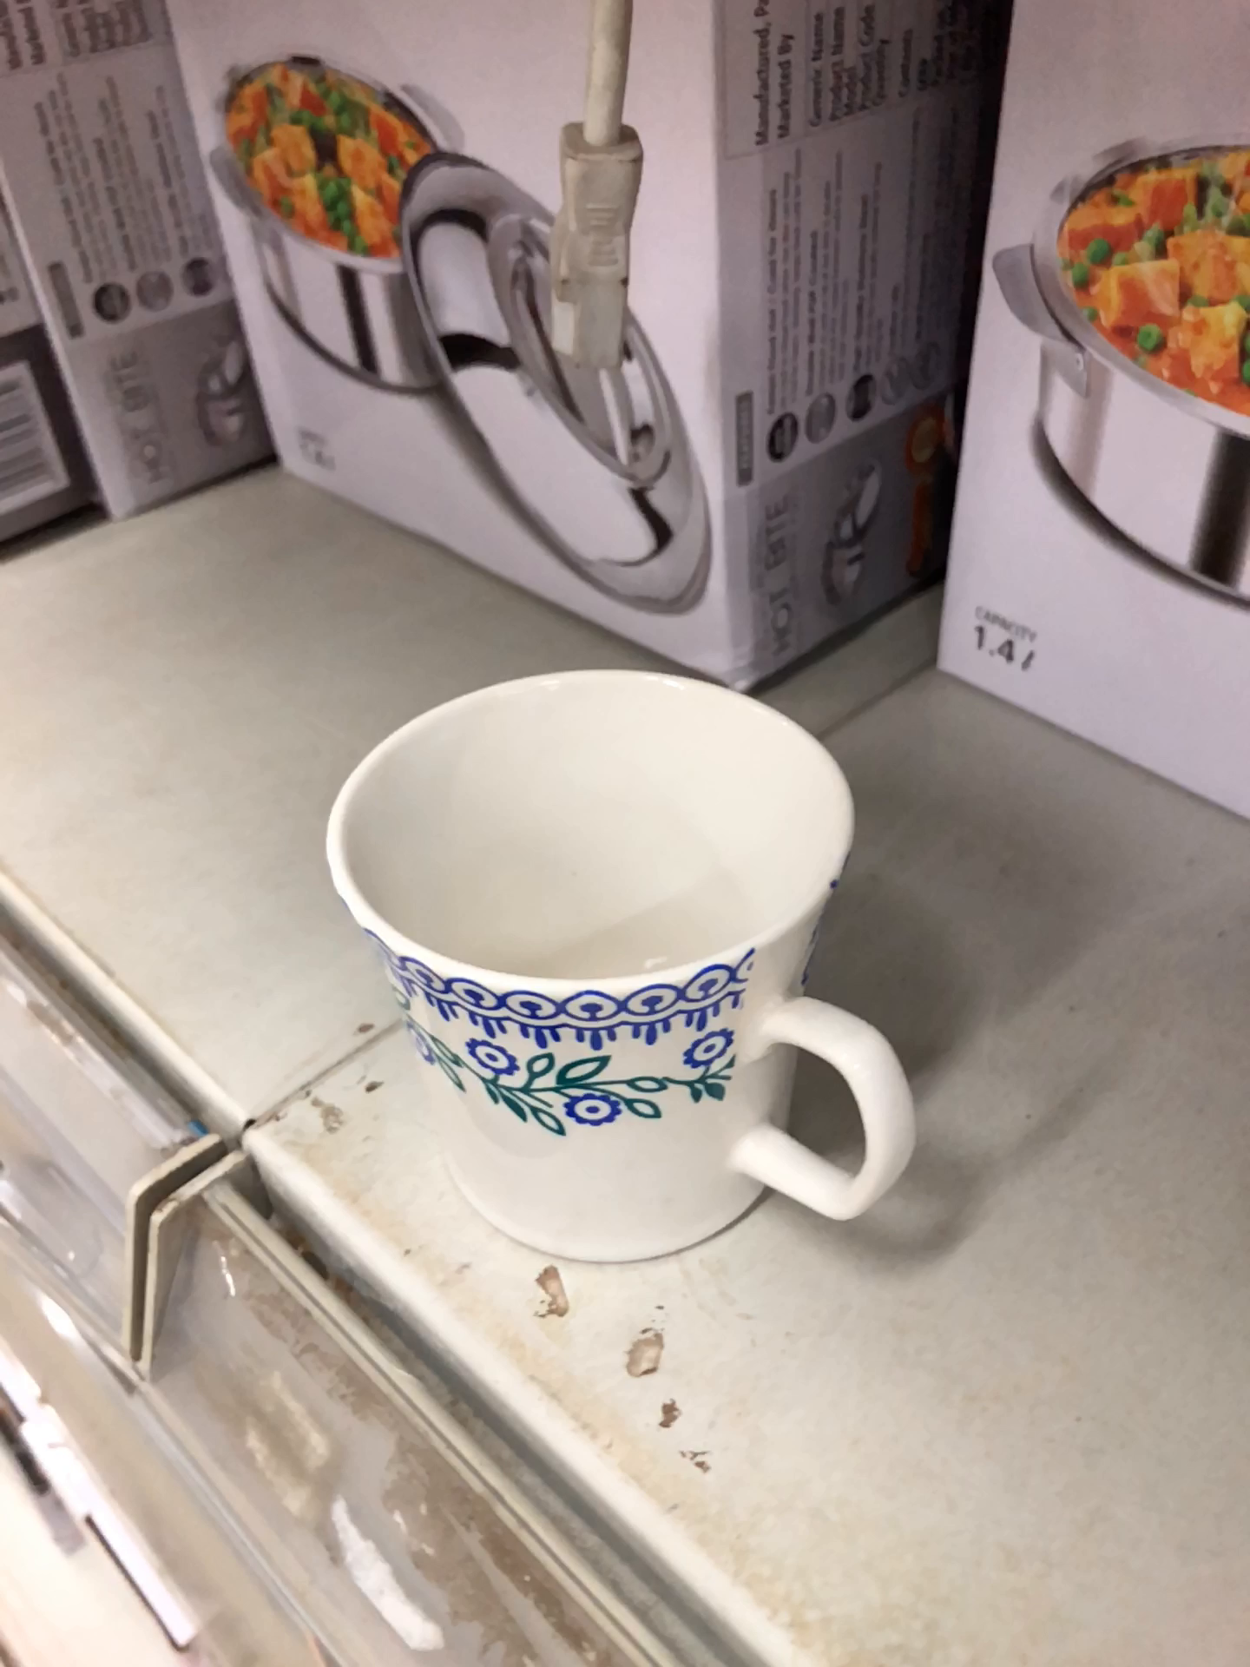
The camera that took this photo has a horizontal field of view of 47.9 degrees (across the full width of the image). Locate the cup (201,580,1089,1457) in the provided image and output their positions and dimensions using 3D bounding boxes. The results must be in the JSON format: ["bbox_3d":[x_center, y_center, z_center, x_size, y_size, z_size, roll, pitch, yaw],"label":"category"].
[{"bbox_3d":[0.003,0.020,0.214,0.100,0.070,0.070,25,47,32],"label":"cup"}]
